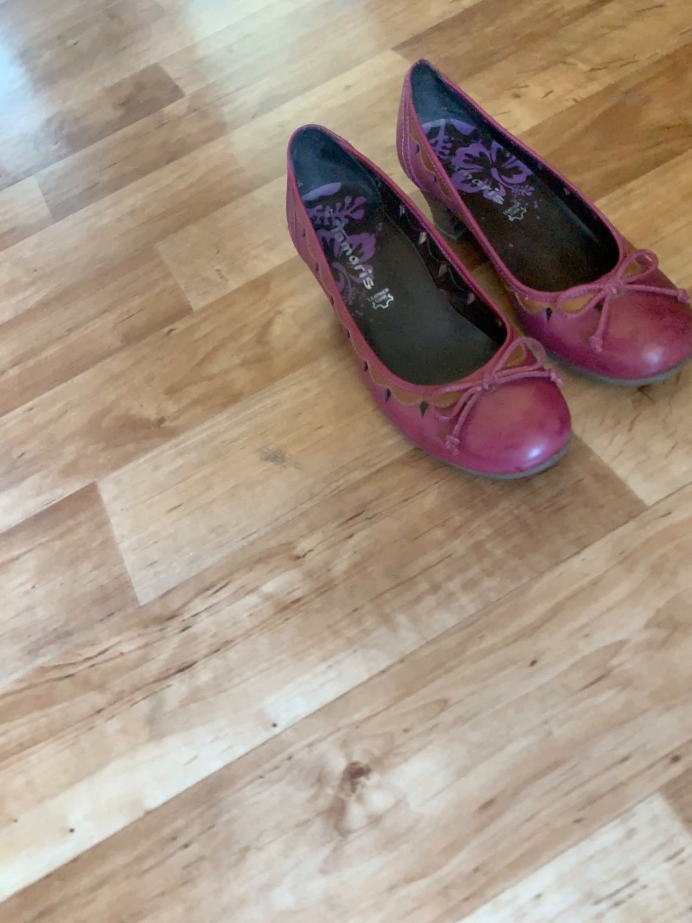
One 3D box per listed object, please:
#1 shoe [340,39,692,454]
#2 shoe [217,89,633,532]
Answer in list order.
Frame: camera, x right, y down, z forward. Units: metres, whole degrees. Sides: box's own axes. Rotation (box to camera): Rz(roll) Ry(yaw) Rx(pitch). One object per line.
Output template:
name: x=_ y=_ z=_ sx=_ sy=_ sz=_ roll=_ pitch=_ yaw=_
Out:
shoe: x=0.109 y=-0.134 z=0.408 sx=0.090 sy=0.110 sz=0.241 roll=-34 pitch=54 yaw=-8
shoe: x=0.033 y=-0.095 z=0.397 sx=0.090 sy=0.110 sz=0.241 roll=-32 pitch=53 yaw=-7
